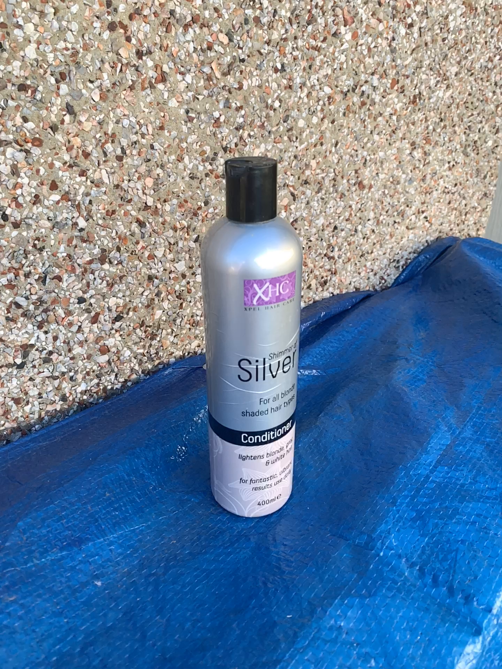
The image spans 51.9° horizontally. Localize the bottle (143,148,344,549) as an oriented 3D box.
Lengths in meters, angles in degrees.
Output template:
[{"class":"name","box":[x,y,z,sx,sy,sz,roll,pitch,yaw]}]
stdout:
[{"class":"bottle","box":[-0.004,0.012,0.277,0.070,0.198,0.061,-14,32,-22]}]
